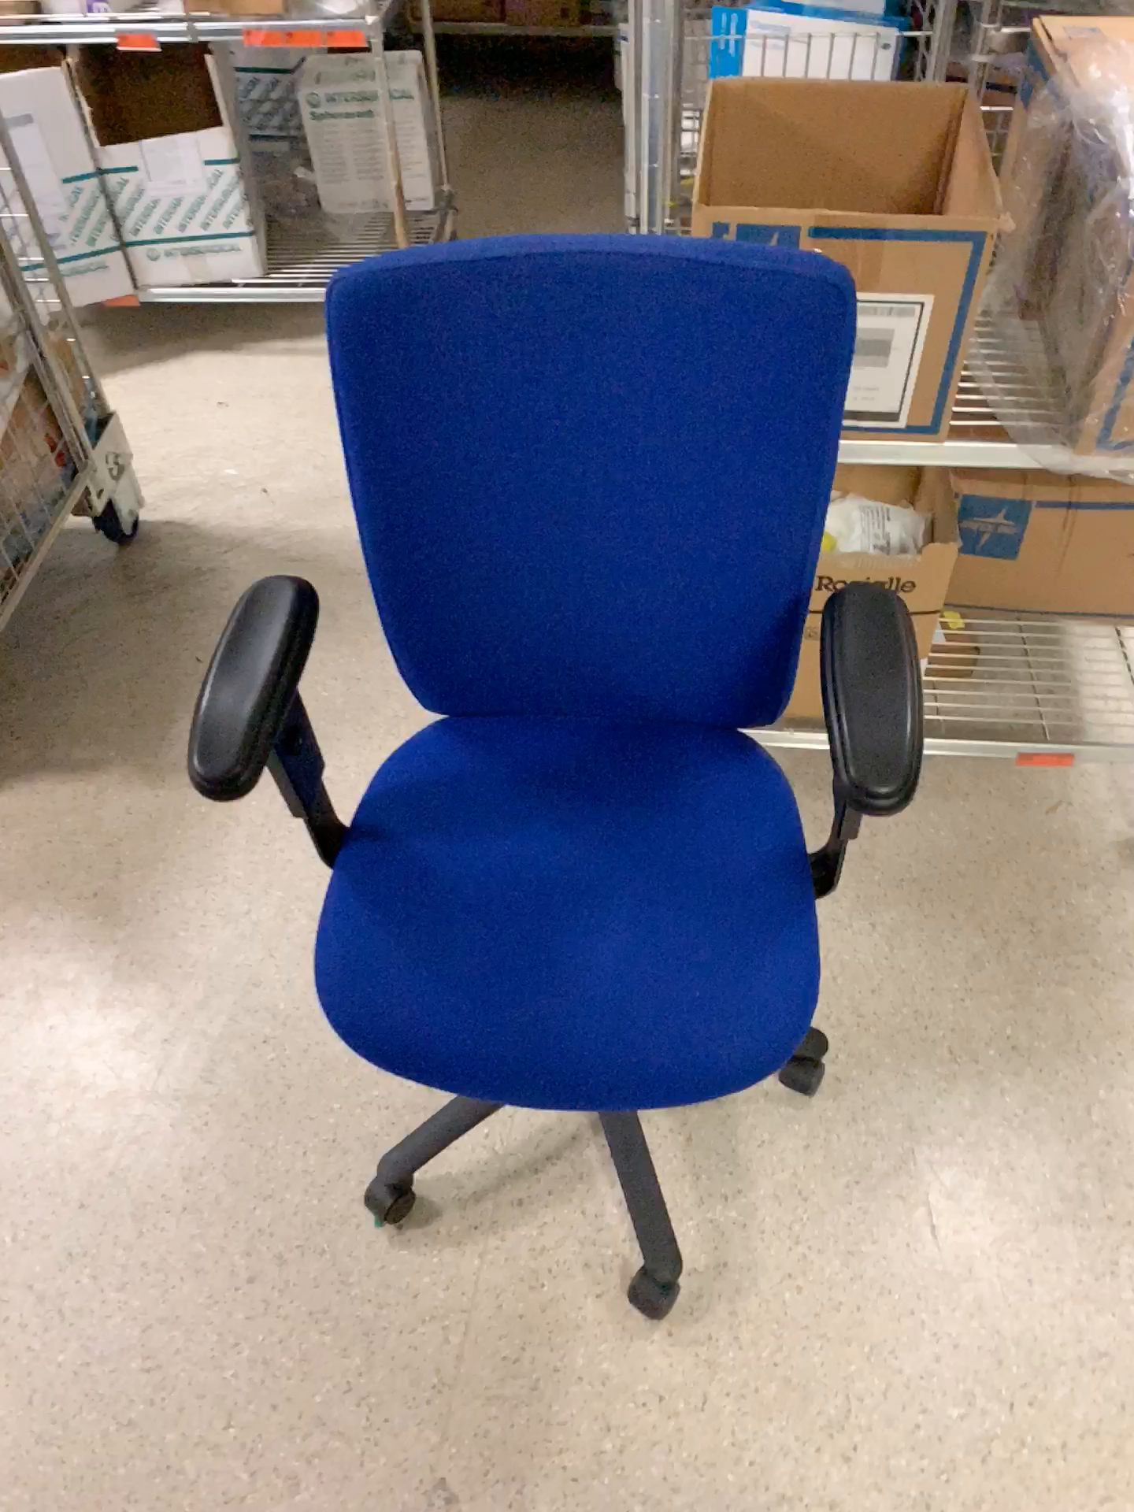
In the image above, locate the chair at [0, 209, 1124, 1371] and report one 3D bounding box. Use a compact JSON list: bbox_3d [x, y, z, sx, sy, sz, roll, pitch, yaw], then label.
[{"bbox_3d":[0.002,0.077,1.177,0.678,0.950,0.672,5,48,7],"label":"chair"}]
